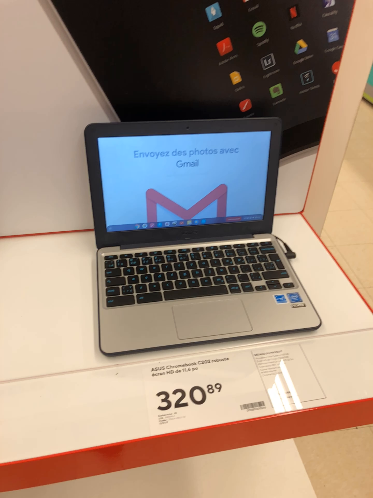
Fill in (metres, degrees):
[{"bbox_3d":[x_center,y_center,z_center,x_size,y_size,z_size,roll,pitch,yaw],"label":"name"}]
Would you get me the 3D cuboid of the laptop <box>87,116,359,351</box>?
[{"bbox_3d":[0.021,-0.037,0.541,0.274,0.174,0.231,-5,42,-11],"label":"laptop"}]
